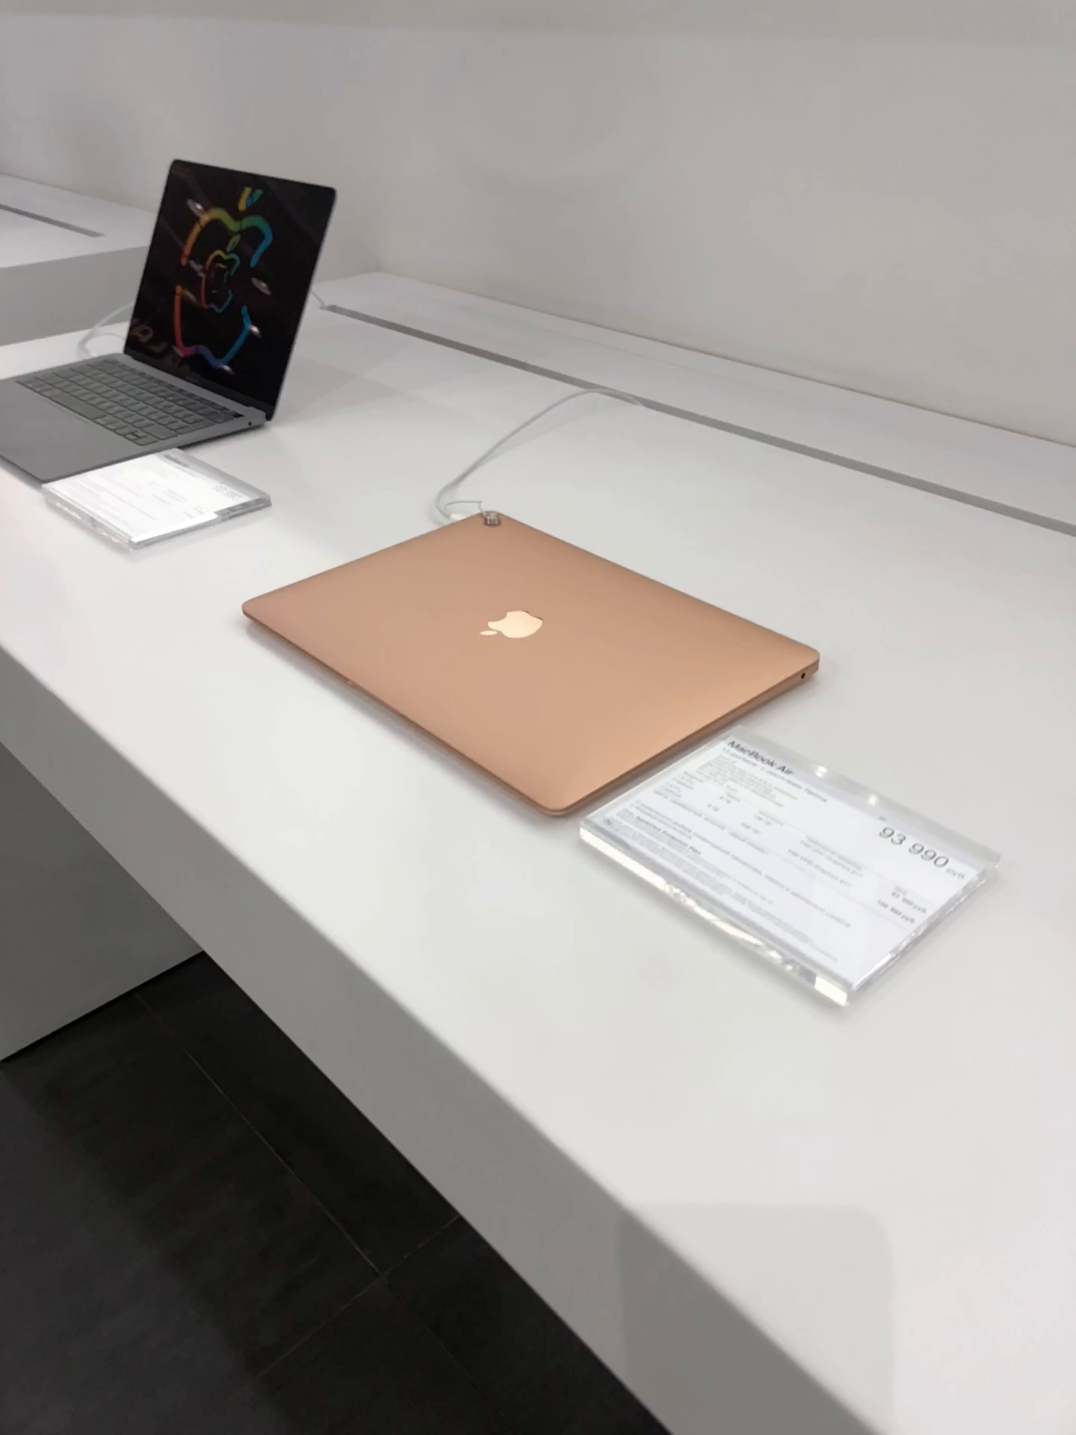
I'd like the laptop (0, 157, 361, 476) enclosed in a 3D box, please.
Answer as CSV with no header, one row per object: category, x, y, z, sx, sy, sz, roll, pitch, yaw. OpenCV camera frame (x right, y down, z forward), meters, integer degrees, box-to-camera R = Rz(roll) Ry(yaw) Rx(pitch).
laptop,-0.389,-0.389,1.094,0.312,0.180,0.304,-27,39,-33

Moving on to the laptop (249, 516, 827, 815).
laptop,-0.010,-0.050,0.707,0.202,0.005,0.294,-28,40,-33
